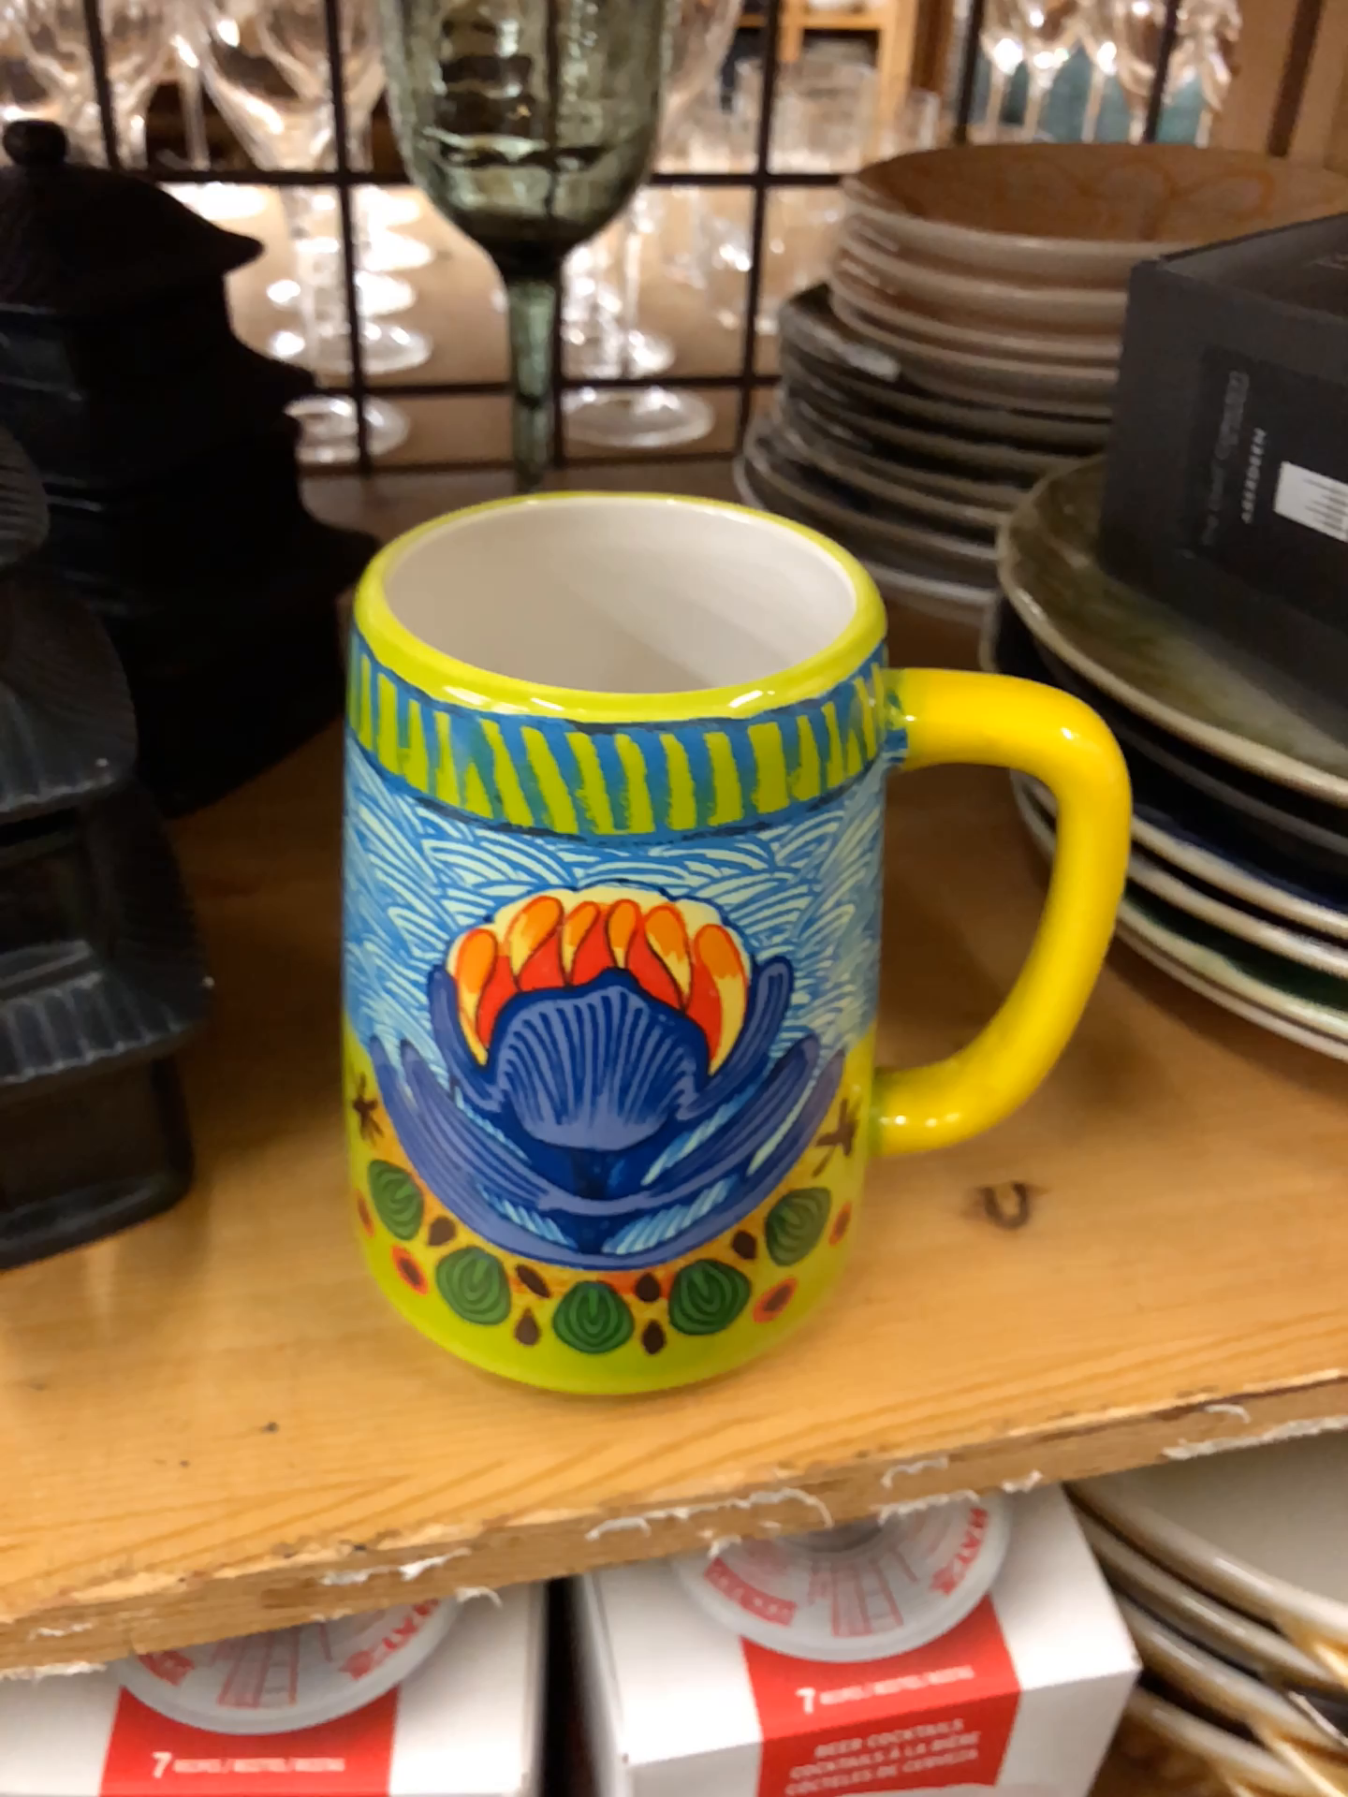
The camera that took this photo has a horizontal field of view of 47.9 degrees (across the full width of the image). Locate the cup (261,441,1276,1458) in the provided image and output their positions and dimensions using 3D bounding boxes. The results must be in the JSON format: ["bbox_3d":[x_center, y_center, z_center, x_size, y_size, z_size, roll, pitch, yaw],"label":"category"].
[{"bbox_3d":[0.011,0.006,0.240,0.113,0.125,0.087,4,34,4],"label":"cup"}]
